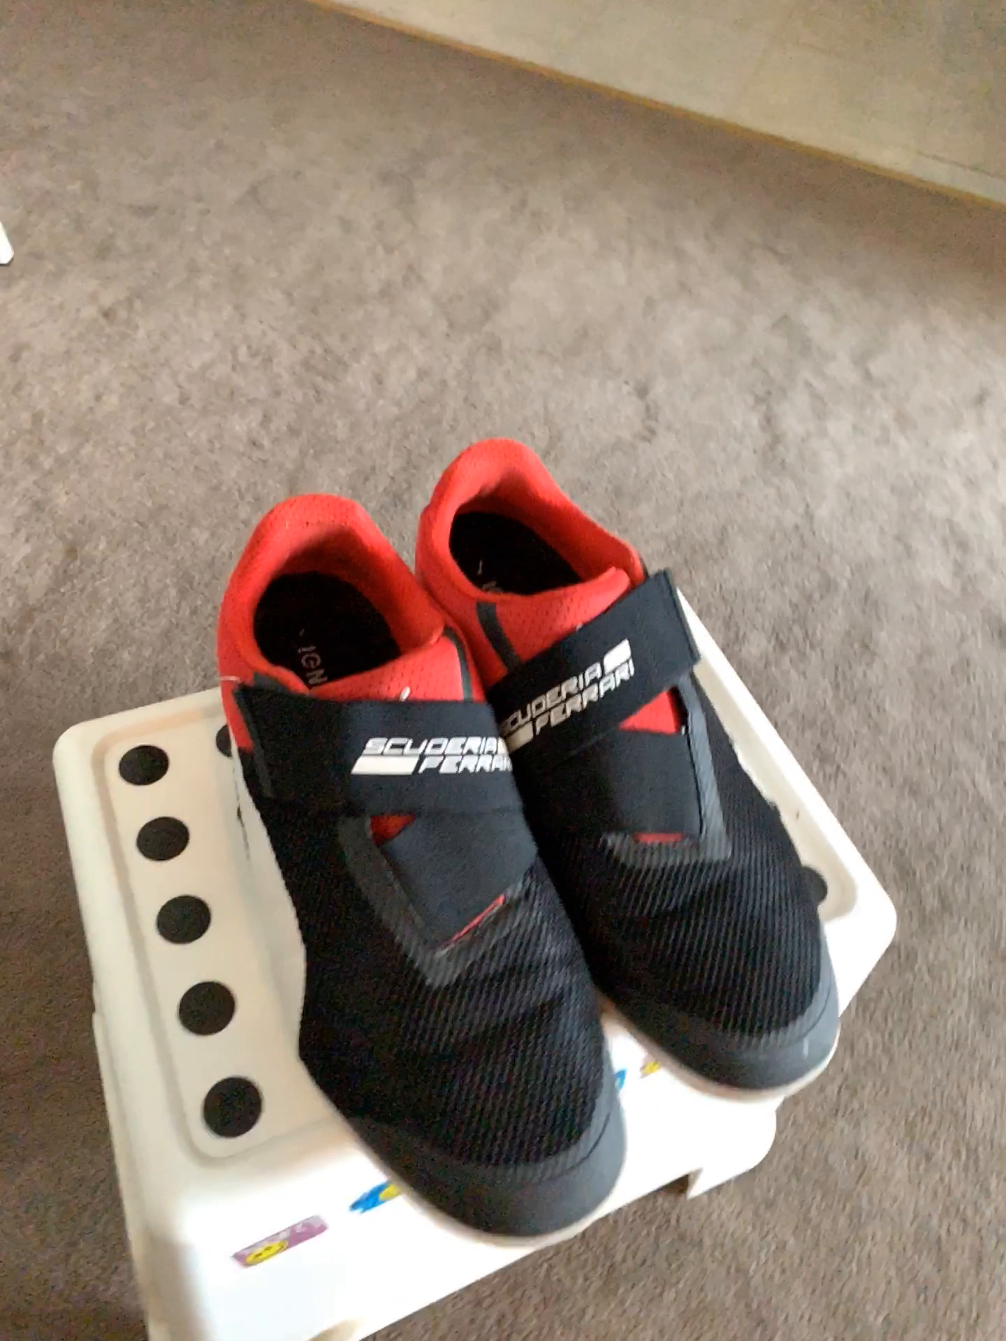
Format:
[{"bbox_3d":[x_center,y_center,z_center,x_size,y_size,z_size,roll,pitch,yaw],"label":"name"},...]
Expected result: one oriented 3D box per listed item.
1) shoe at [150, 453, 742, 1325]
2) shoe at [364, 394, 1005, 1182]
[{"bbox_3d":[-0.044,0.060,0.398,0.100,0.099,0.302,-16,56,-20],"label":"shoe"},{"bbox_3d":[0.046,0.026,0.430,0.110,0.099,0.302,-16,56,-20],"label":"shoe"}]
